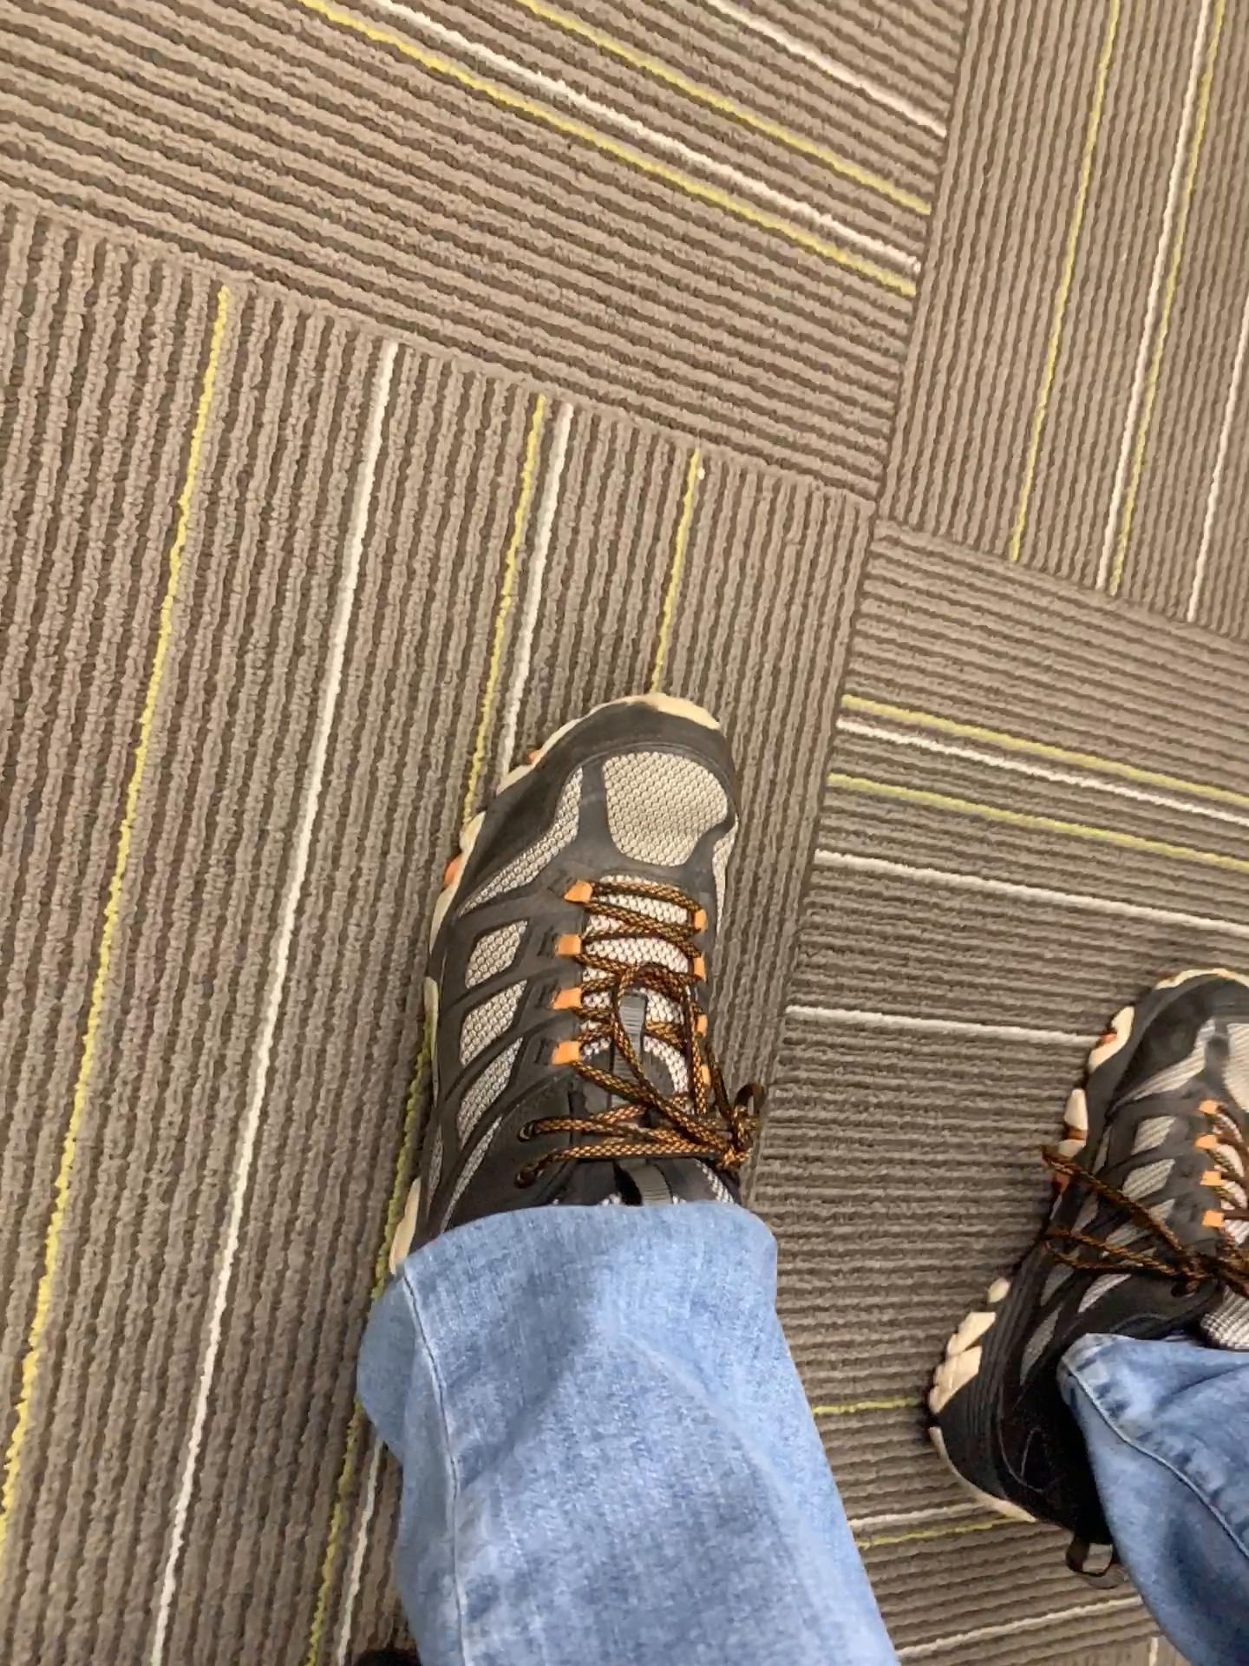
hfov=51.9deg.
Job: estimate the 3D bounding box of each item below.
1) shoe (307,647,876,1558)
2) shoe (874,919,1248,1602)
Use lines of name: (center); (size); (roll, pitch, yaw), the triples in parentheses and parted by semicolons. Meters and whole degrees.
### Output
shoe: (-0.015, 0.101, 0.516); (0.126, 0.095, 0.323); (15, 89, -30)
shoe: (0.282, 0.222, 0.701); (0.123, 0.095, 0.322); (38, 77, -28)
